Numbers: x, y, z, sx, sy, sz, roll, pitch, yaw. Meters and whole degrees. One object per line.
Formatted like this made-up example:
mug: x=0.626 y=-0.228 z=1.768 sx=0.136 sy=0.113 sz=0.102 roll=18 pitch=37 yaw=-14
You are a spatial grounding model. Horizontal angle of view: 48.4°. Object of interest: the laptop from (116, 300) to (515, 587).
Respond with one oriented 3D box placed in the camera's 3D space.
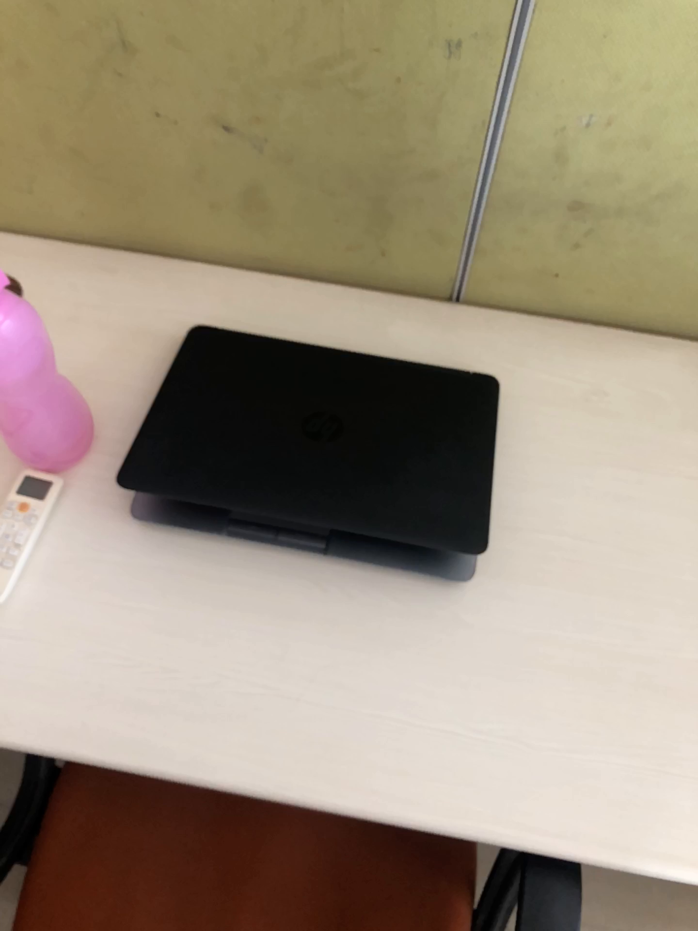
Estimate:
laptop: x=-0.023 y=-0.029 z=0.754 sx=0.330 sy=0.050 sz=0.226 roll=11 pitch=64 yaw=4
